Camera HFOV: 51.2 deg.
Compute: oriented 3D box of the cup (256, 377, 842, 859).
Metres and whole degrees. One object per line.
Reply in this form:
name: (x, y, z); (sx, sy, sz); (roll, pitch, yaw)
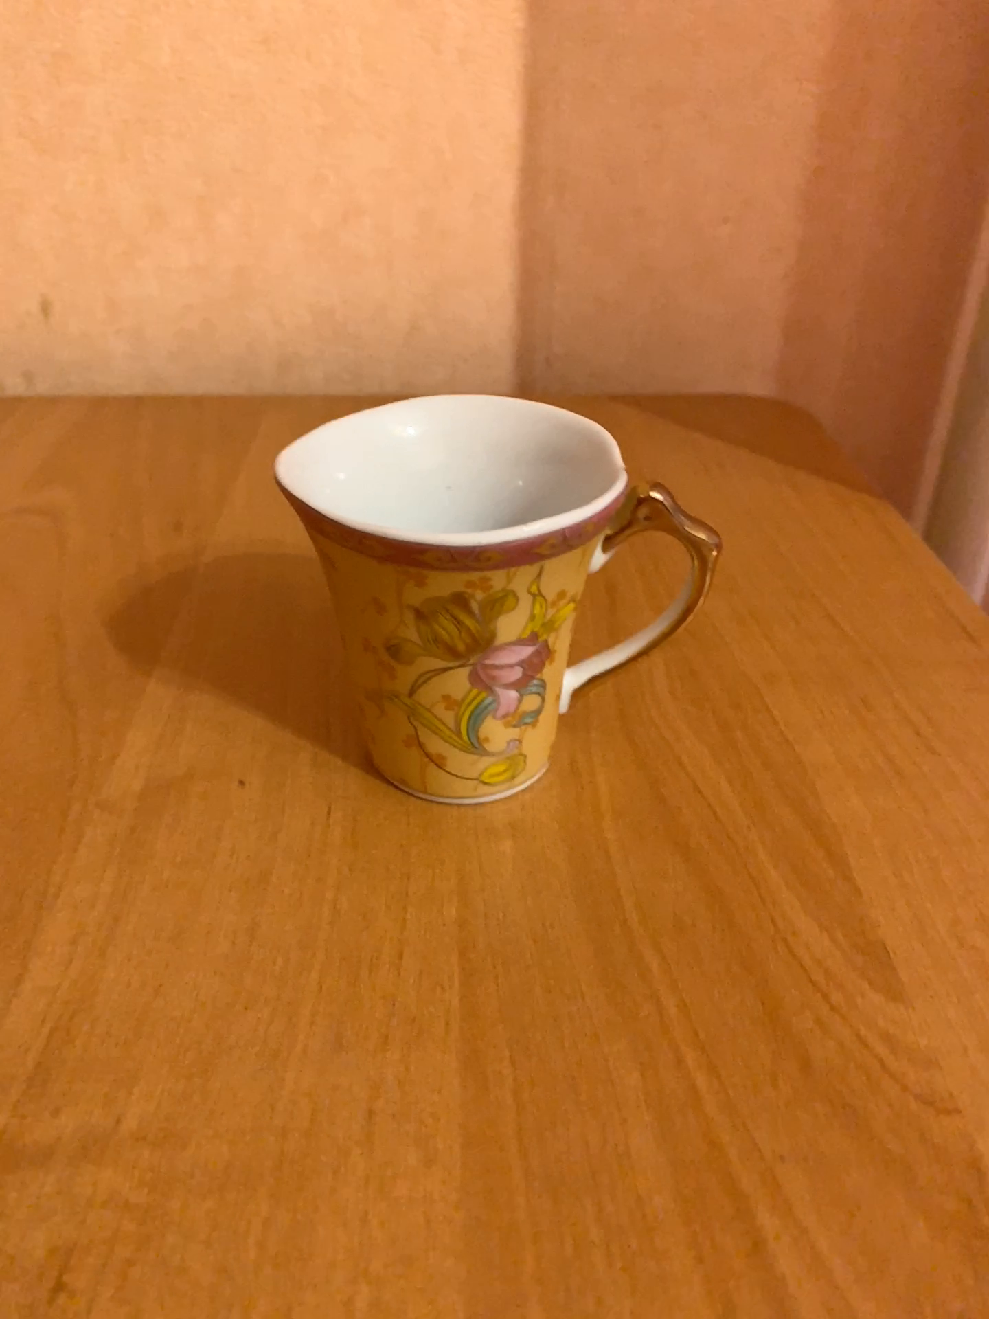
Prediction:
cup: (0.005, -0.014, 0.212); (0.094, 0.061, 0.072); (-7, 33, -13)
